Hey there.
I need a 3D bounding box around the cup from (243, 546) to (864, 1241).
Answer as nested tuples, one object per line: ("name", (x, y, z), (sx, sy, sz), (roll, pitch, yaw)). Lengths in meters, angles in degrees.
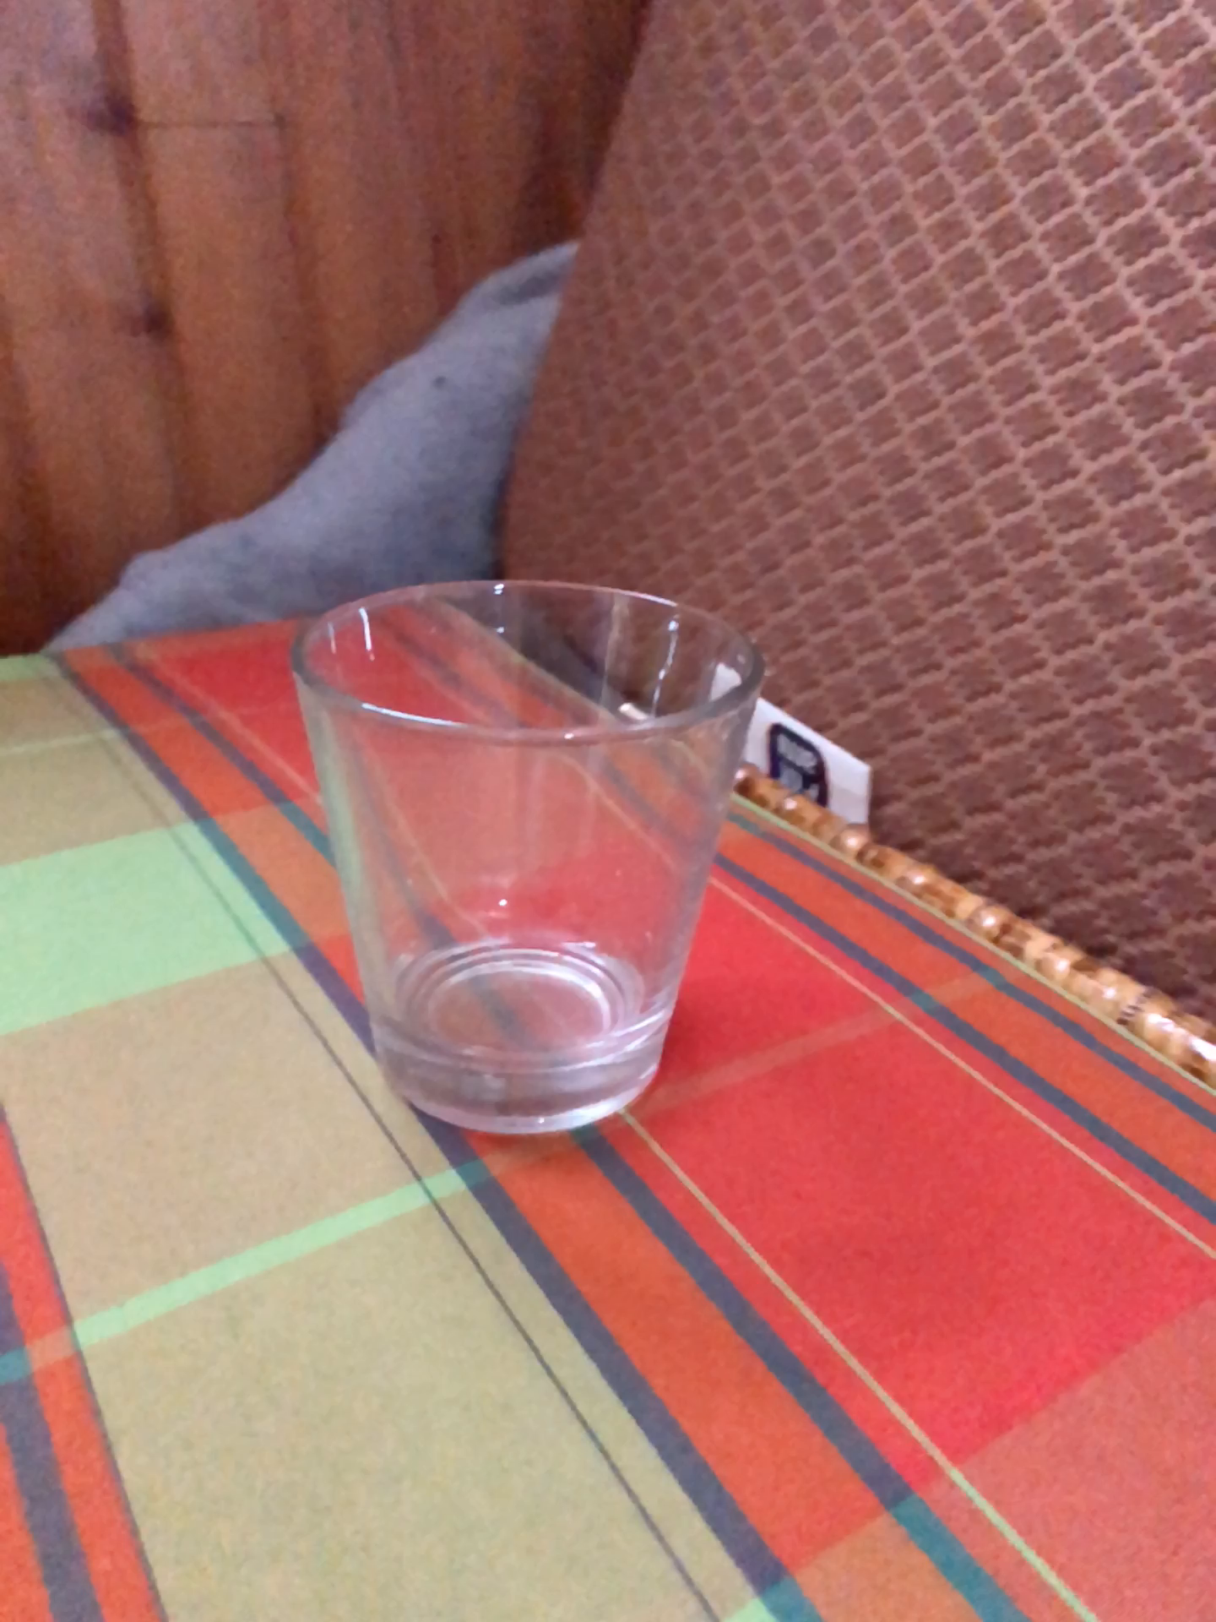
("cup", (-0.014, 0.007, 0.254), (0.080, 0.090, 0.080), (2, 24, -1))
